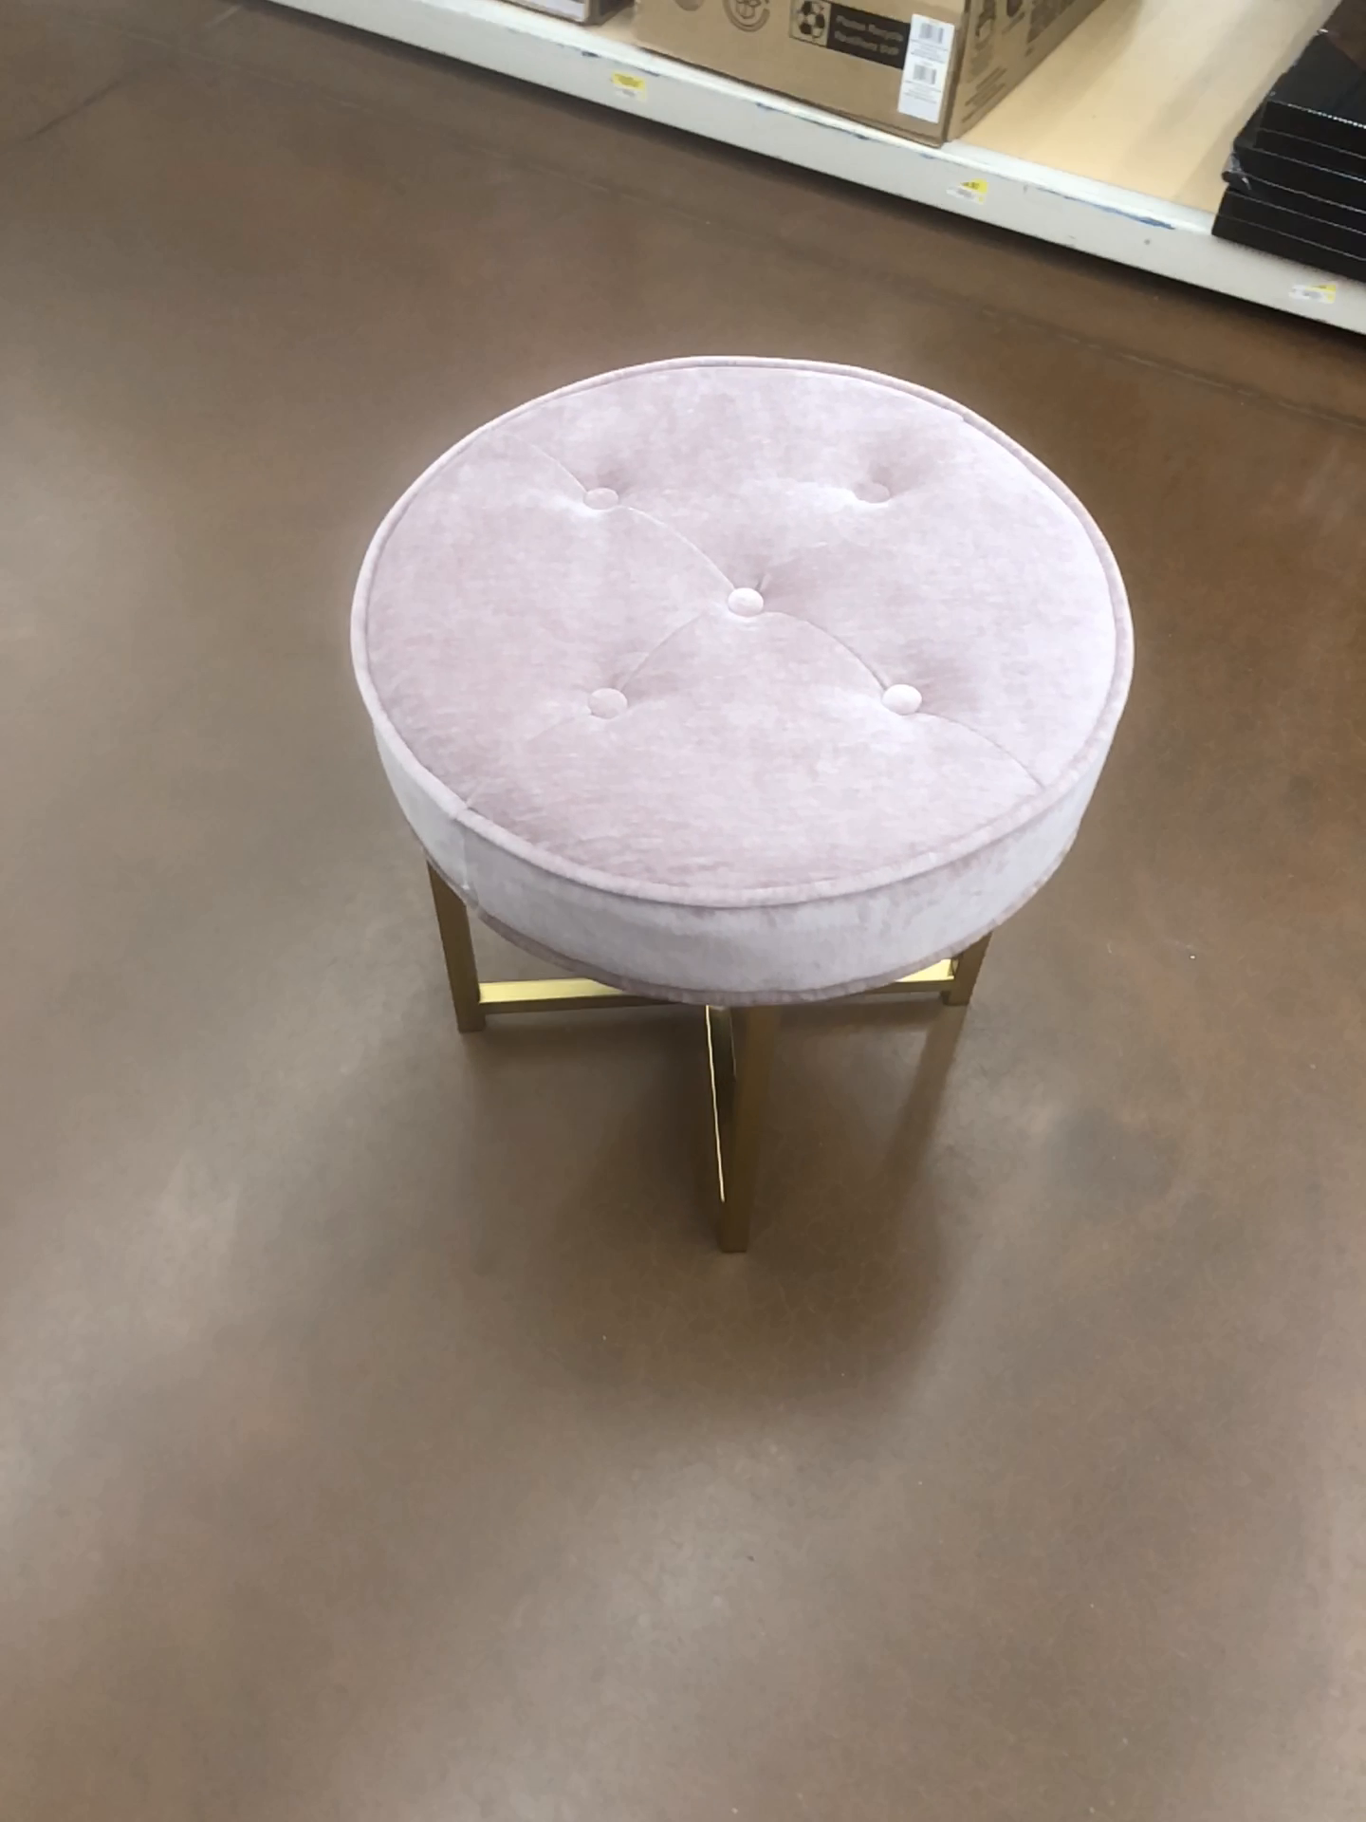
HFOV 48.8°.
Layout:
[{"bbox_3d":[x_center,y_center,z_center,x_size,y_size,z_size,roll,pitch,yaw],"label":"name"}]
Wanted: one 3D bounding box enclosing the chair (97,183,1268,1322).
[{"bbox_3d":[0.009,-0.117,0.986,0.450,0.389,0.471,33,60,21],"label":"chair"}]
